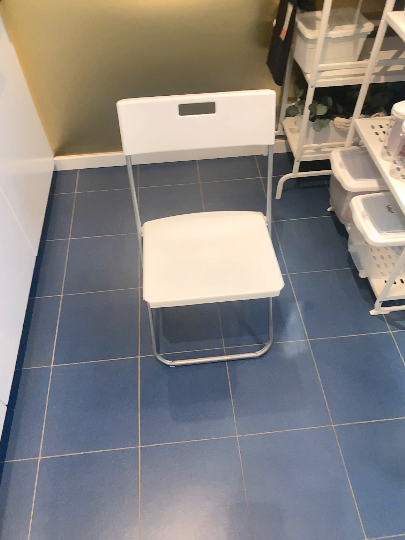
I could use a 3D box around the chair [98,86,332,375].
[{"bbox_3d":[0.014,-0.073,1.219,0.460,0.708,0.451,-5,51,-2],"label":"chair"}]
